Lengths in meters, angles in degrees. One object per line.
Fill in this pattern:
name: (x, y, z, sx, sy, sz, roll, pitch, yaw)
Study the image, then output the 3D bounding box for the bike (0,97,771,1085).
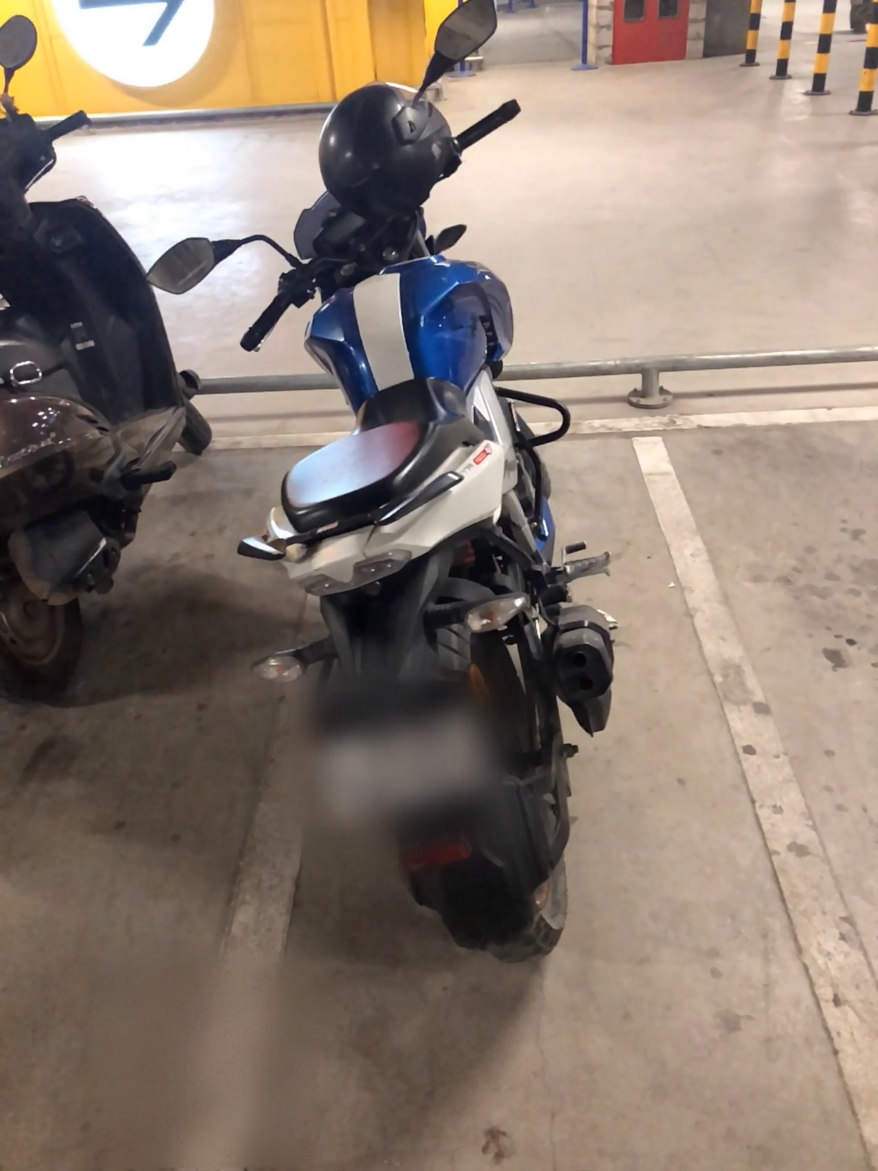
bike: (-0.159, -0.257, 2.025, 0.806, 1.162, 1.996, -6, 33, -2)
